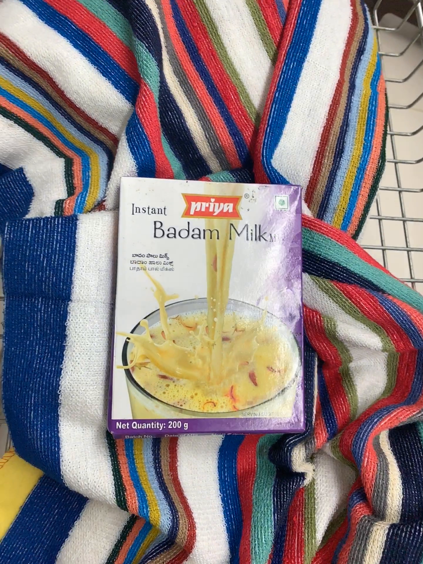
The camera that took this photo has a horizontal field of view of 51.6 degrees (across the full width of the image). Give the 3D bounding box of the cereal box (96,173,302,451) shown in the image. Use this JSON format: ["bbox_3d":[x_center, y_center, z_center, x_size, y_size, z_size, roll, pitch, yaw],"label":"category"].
[{"bbox_3d":[-0.006,0.018,0.277,0.120,0.030,0.160,2,83,-9],"label":"cereal box"}]
